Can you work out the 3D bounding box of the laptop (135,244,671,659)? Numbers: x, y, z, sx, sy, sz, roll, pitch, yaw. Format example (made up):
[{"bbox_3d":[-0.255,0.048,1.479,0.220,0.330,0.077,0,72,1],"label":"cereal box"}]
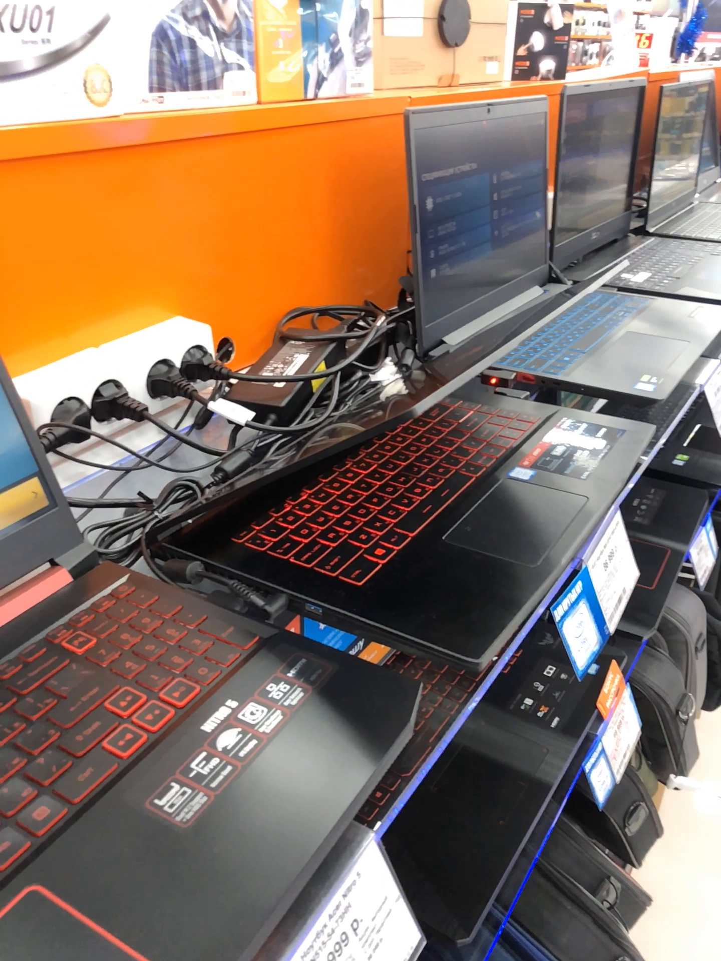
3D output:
[{"bbox_3d":[0.055,-0.061,0.571,0.226,0.134,0.348,16,31,29],"label":"laptop"}]

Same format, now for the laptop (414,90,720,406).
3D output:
[{"bbox_3d":[0.255,-0.283,0.862,0.278,0.228,0.327,19,36,33],"label":"laptop"}]

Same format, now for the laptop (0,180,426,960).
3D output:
[{"bbox_3d":[-0.214,0.039,0.285,0.329,0.225,0.366,16,31,28],"label":"laptop"}]
